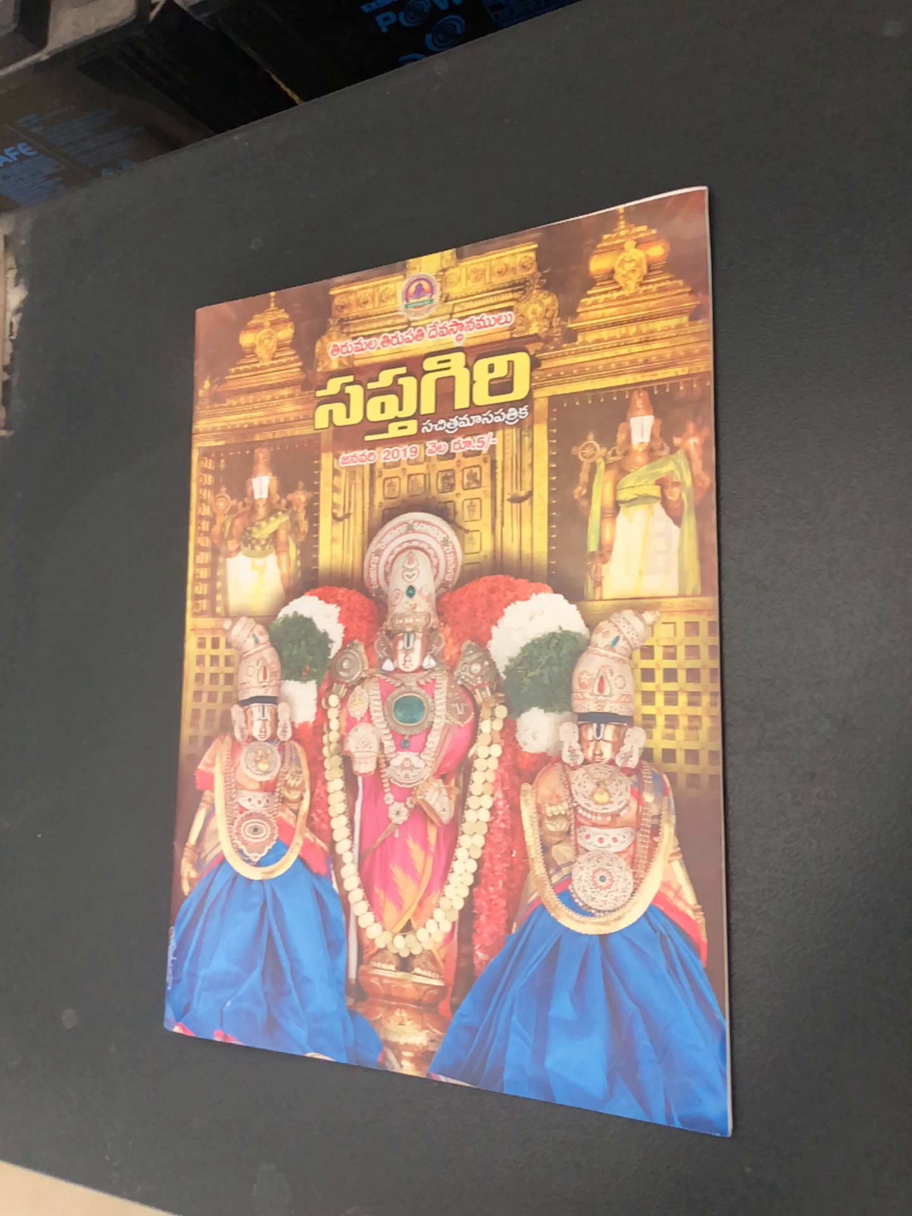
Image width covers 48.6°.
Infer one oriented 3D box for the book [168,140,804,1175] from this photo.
[{"bbox_3d":[0.000,0.011,0.324,0.200,0.030,0.270,-4,81,28],"label":"book"}]
